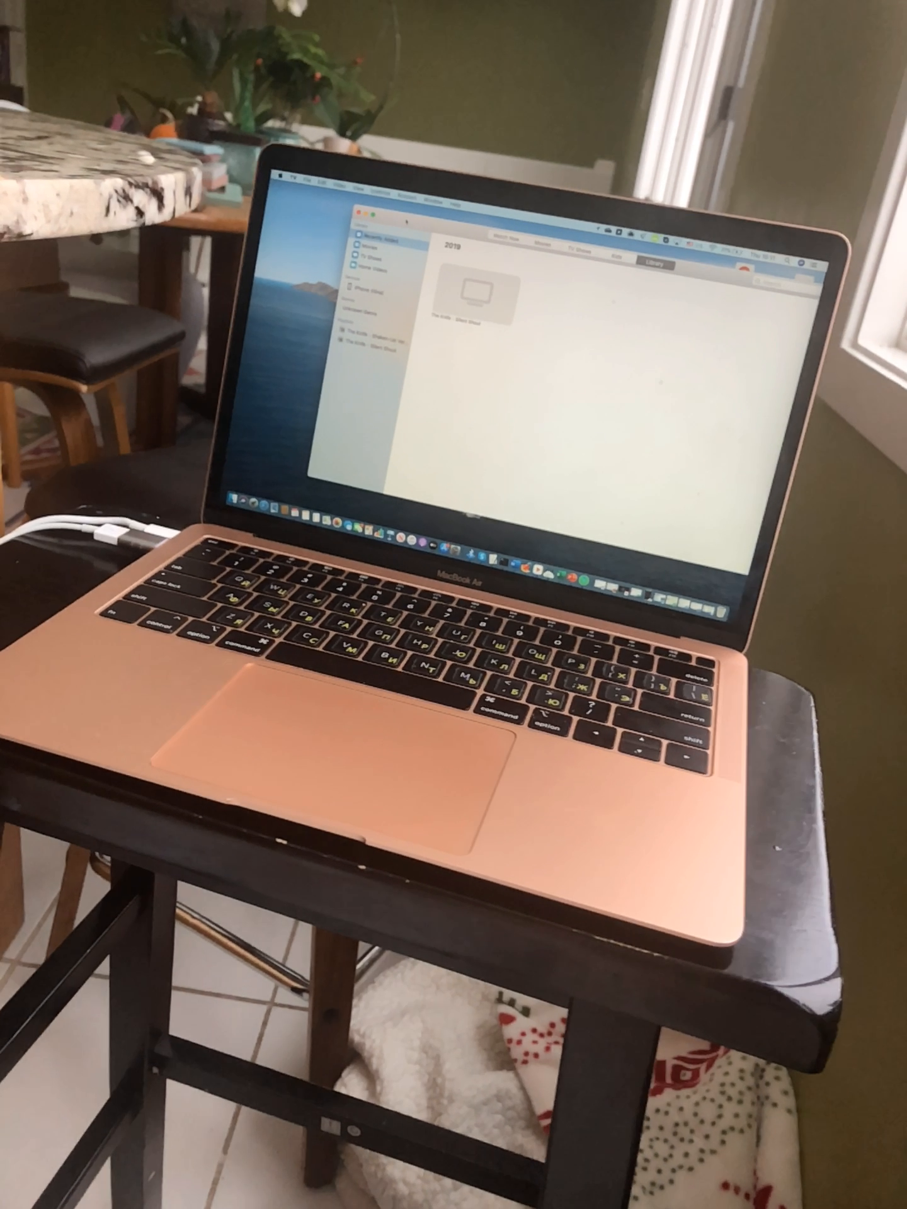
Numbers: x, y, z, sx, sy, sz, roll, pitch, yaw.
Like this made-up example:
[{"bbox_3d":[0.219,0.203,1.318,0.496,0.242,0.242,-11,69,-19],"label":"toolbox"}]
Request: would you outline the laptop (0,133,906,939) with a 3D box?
[{"bbox_3d":[-0.004,-0.068,0.423,0.297,0.196,0.265,14,26,11],"label":"laptop"}]
